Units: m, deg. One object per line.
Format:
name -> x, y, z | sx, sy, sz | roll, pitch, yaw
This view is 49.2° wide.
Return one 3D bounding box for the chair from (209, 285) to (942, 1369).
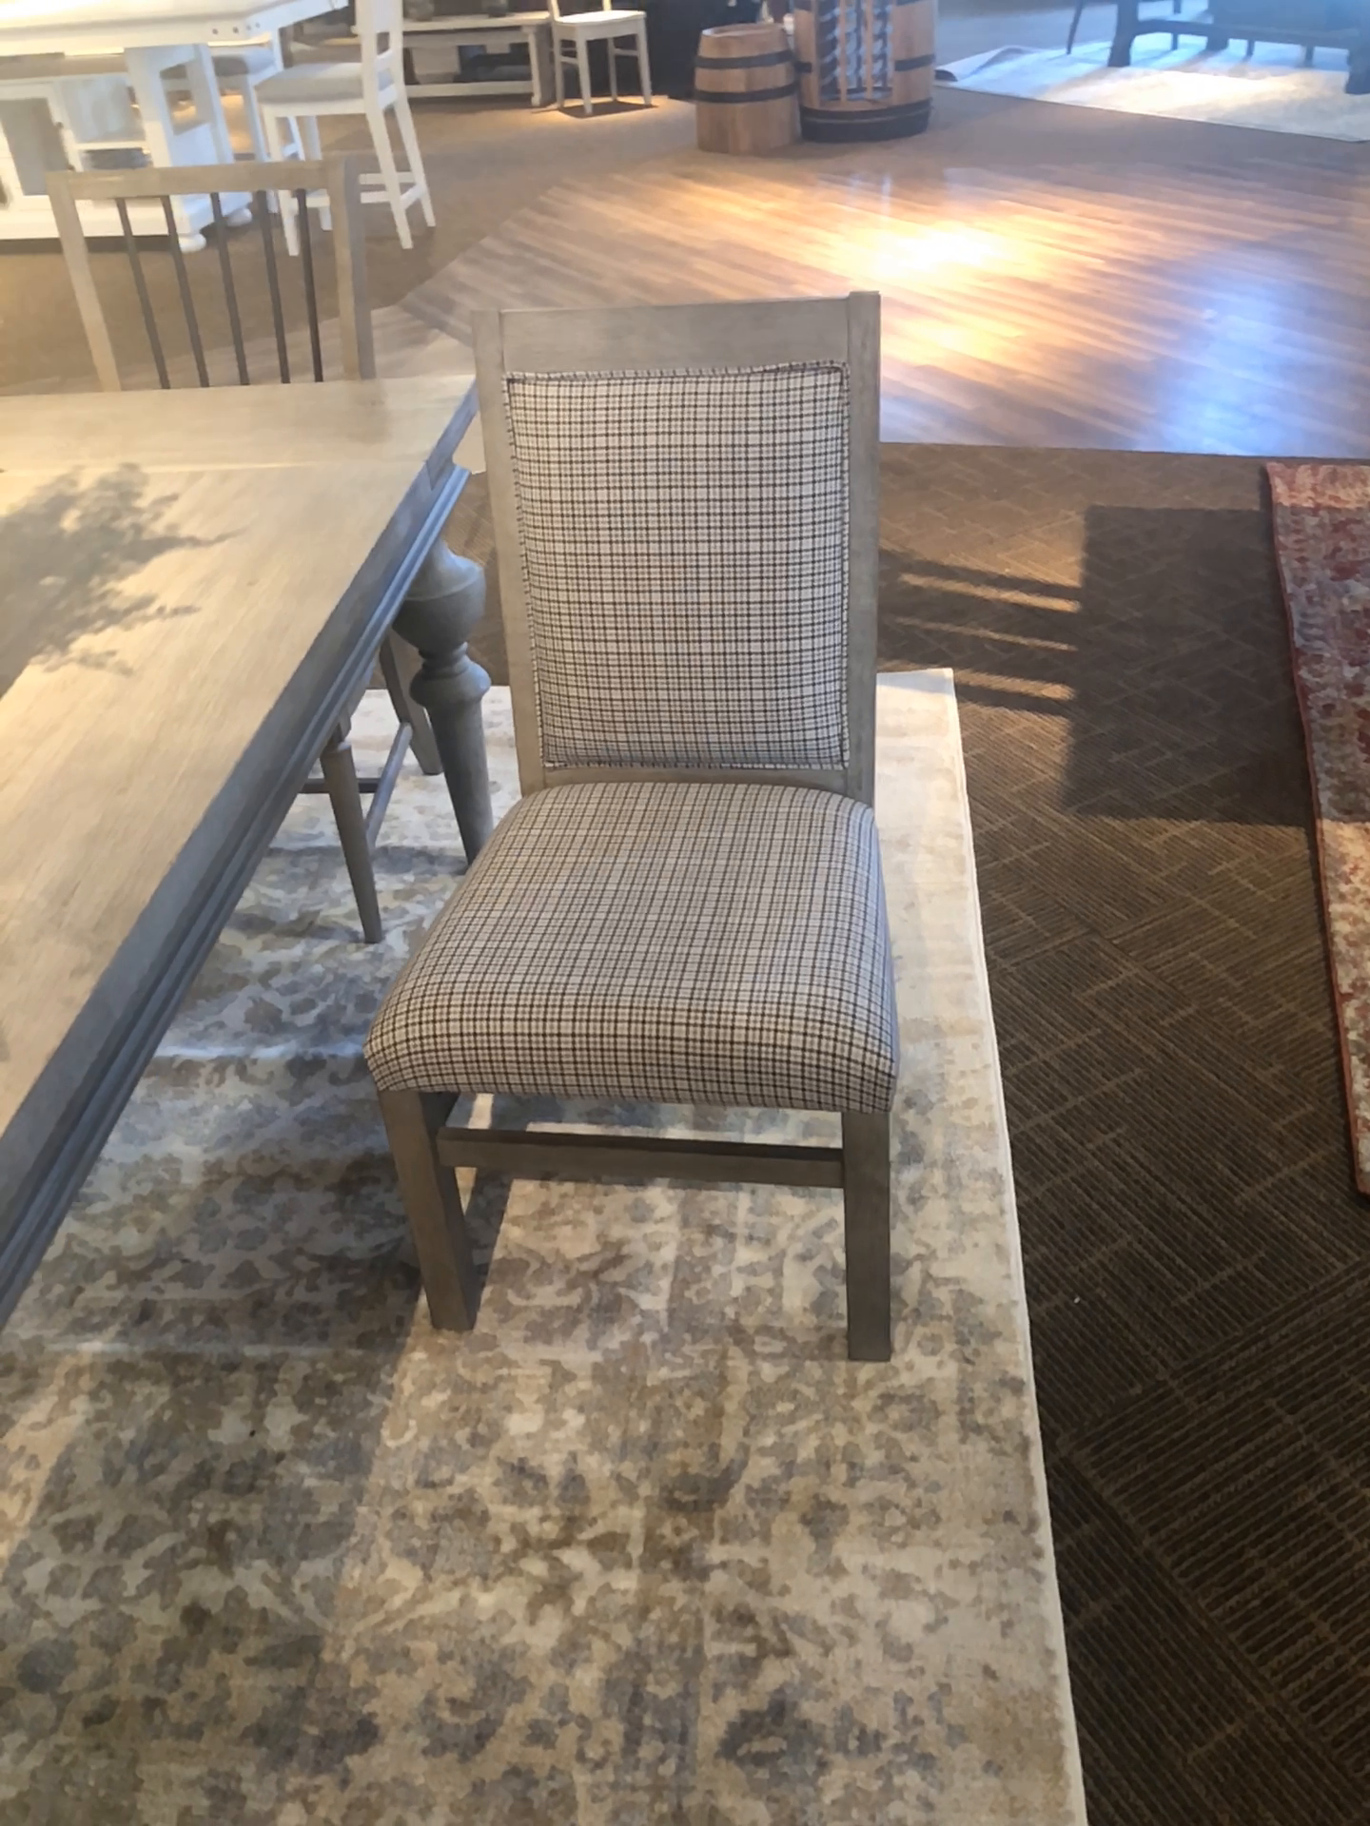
chair -> -0.009, -0.099, 1.545 | 0.510, 0.866, 0.663 | 2, 36, 9
